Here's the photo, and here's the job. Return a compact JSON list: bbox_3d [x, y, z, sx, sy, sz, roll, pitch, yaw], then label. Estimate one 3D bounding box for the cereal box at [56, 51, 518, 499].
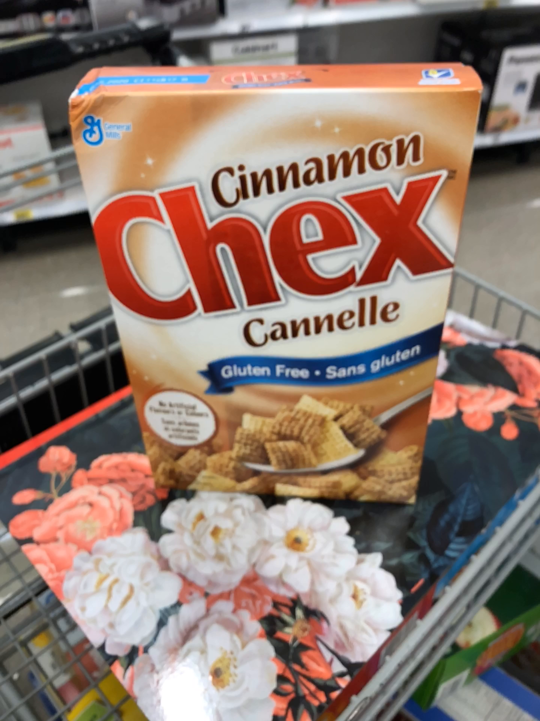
[{"bbox_3d":[0.007,-0.034,0.363,0.200,0.259,0.060,2,35,2],"label":"cereal box"}]
